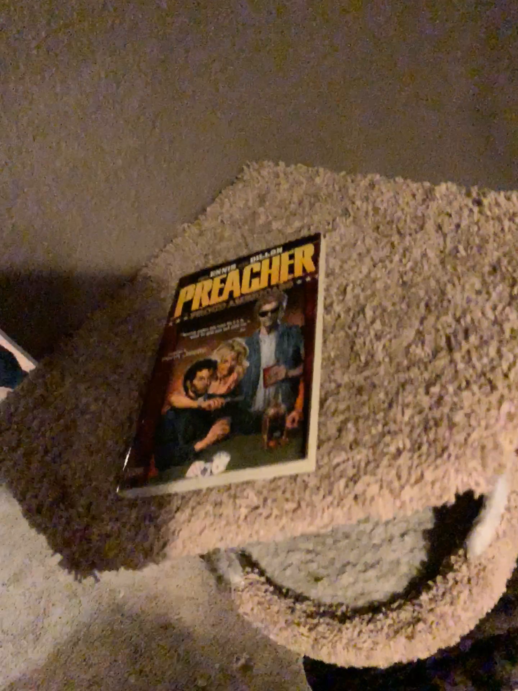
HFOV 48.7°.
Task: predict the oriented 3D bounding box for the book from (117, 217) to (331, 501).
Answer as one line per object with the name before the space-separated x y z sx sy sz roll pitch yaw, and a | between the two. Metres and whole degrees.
book | -0.020 -0.001 0.513 0.170 0.020 0.270 -15 44 22

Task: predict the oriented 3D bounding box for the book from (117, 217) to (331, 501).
book | -0.020 -0.001 0.513 0.170 0.020 0.270 -15 44 22
